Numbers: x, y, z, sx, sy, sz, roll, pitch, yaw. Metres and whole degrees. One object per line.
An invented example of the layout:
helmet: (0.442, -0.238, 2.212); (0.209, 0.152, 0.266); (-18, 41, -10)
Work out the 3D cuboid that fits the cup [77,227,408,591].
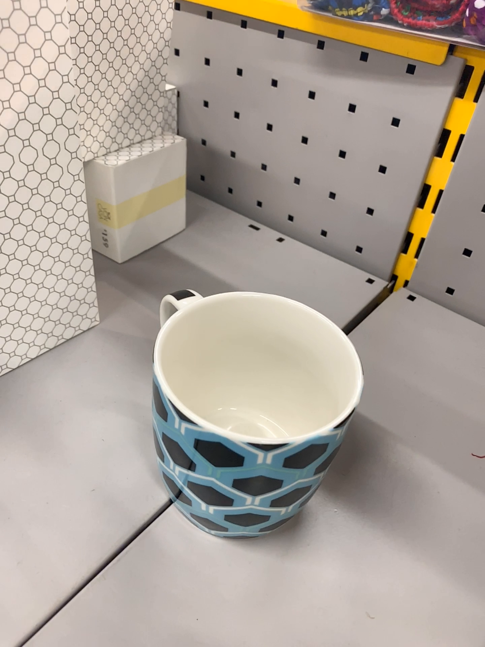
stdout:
cup: (-0.010, 0.031, 0.240); (0.090, 0.090, 0.120); (-18, 47, -27)
